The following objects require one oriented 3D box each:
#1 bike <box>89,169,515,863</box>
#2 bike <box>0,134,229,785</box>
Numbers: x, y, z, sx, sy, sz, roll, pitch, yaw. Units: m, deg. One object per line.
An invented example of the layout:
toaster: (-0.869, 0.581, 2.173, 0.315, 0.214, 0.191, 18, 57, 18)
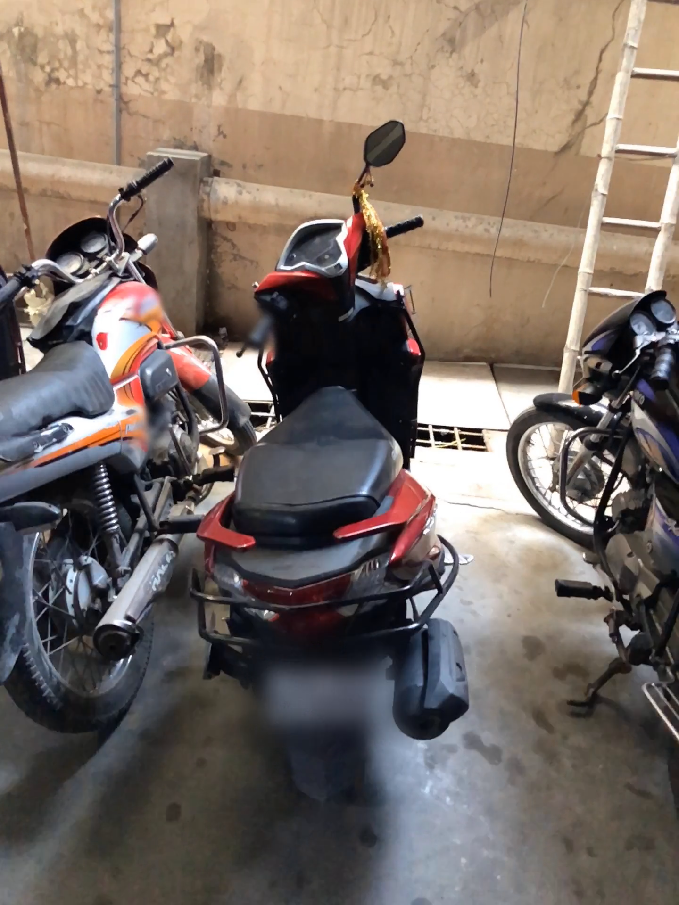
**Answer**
bike: (-0.127, 0.008, 1.993, 0.630, 1.140, 1.445, 6, 29, -4)
bike: (-0.849, -0.185, 2.091, 0.838, 1.090, 1.657, 6, 27, -3)
